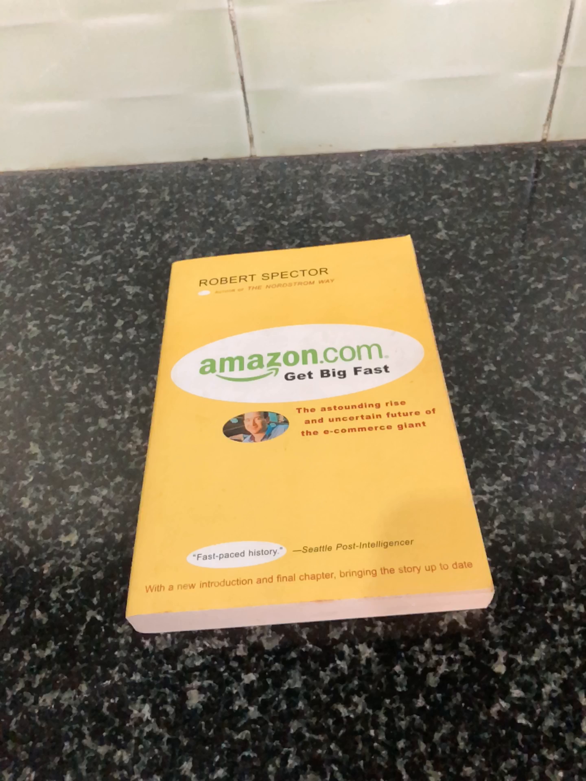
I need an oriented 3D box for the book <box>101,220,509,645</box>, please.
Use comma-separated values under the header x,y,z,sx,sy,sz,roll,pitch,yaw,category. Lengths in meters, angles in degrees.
x,y,z,sx,sy,sz,roll,pitch,yaw,category
0.002,0.002,0.304,0.140,0.030,0.211,-4,50,3,book
